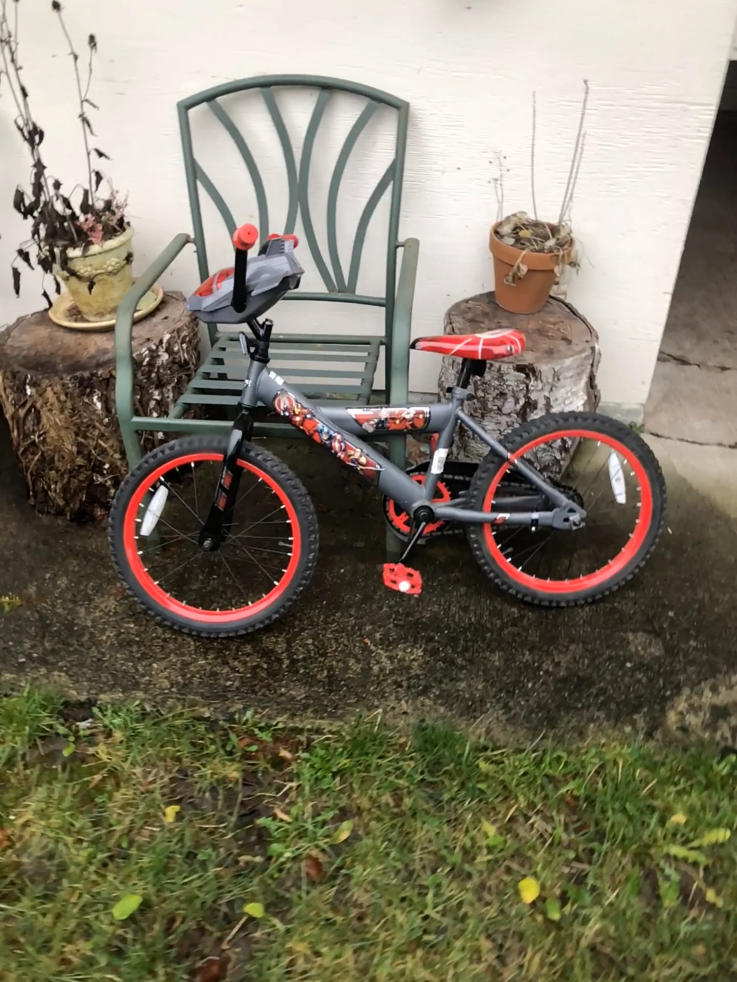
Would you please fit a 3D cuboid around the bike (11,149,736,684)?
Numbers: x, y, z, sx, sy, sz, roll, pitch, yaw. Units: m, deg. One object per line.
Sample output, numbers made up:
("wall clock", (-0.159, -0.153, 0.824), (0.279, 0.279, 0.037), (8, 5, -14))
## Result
("bike", (0.054, -0.153, 1.701), (1.199, 0.853, 0.605), (-3, 37, -1))
